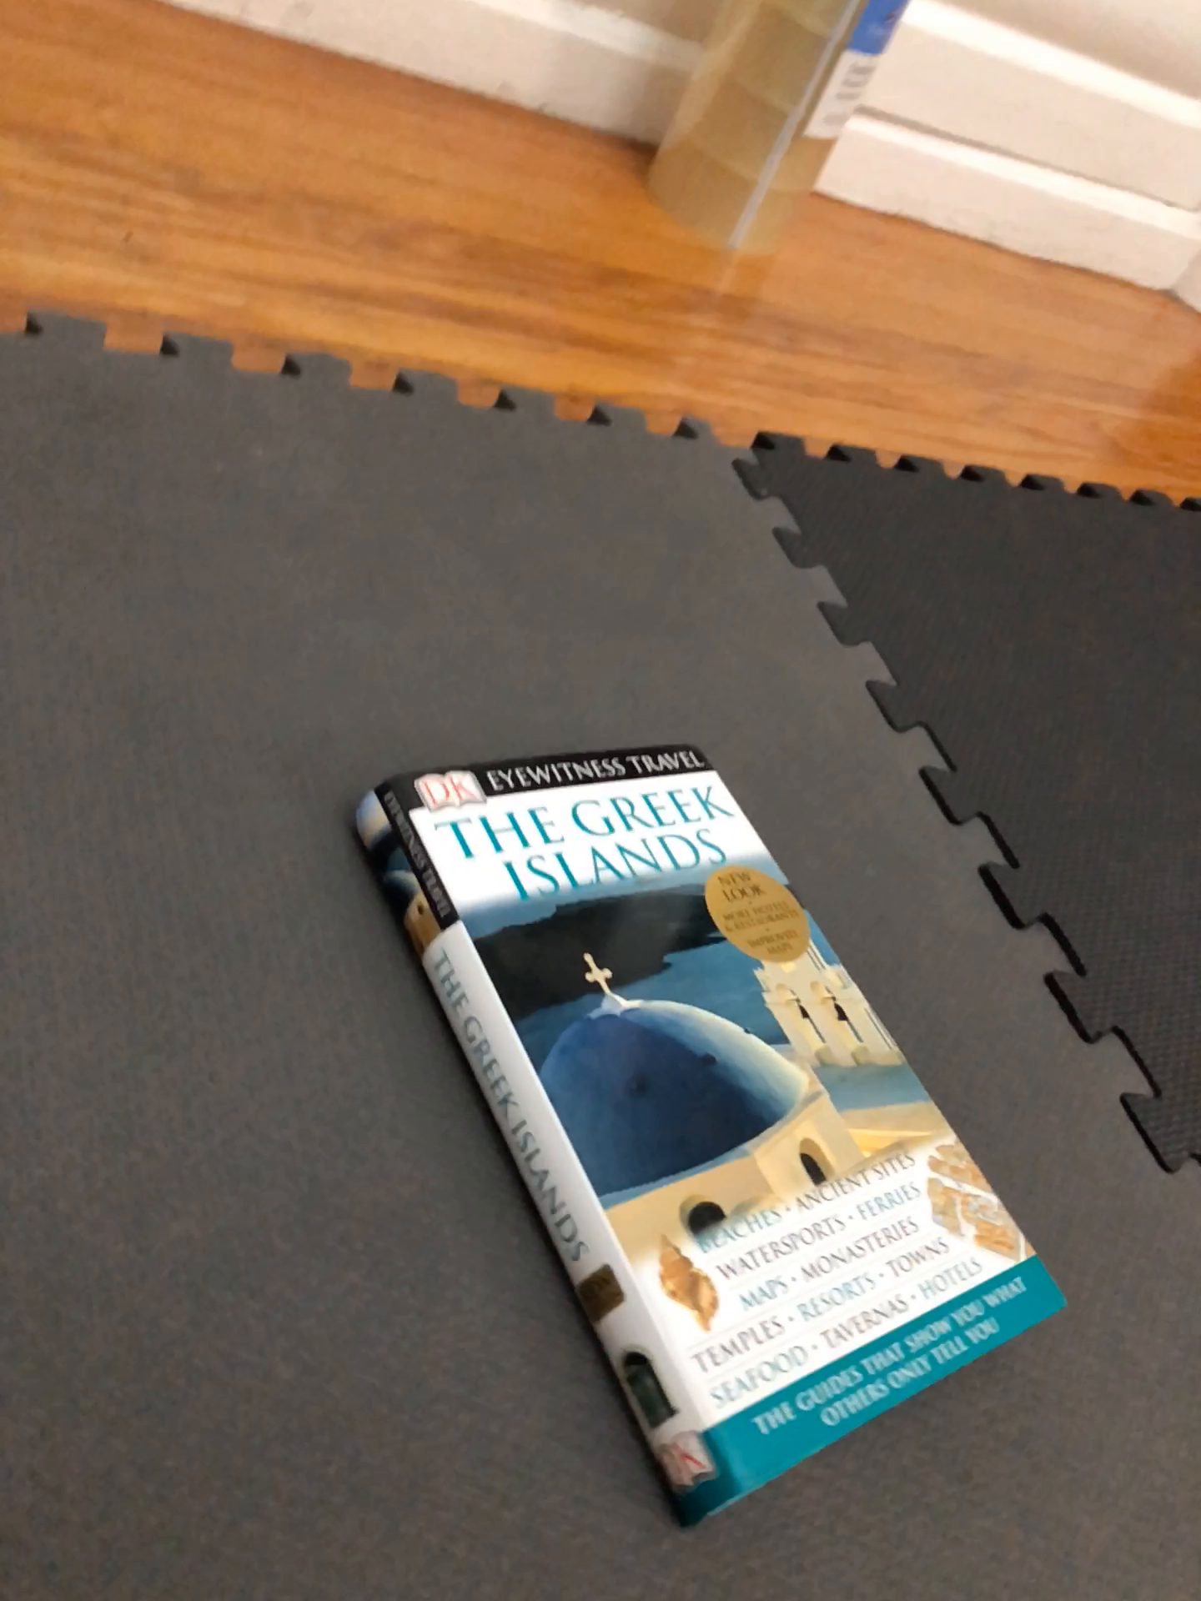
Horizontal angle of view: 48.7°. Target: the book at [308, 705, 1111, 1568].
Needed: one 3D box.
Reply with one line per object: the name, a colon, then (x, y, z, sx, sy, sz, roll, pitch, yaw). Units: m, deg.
book: (0.028, 0.075, 0.414, 0.160, 0.030, 0.241, -8, 55, -35)
